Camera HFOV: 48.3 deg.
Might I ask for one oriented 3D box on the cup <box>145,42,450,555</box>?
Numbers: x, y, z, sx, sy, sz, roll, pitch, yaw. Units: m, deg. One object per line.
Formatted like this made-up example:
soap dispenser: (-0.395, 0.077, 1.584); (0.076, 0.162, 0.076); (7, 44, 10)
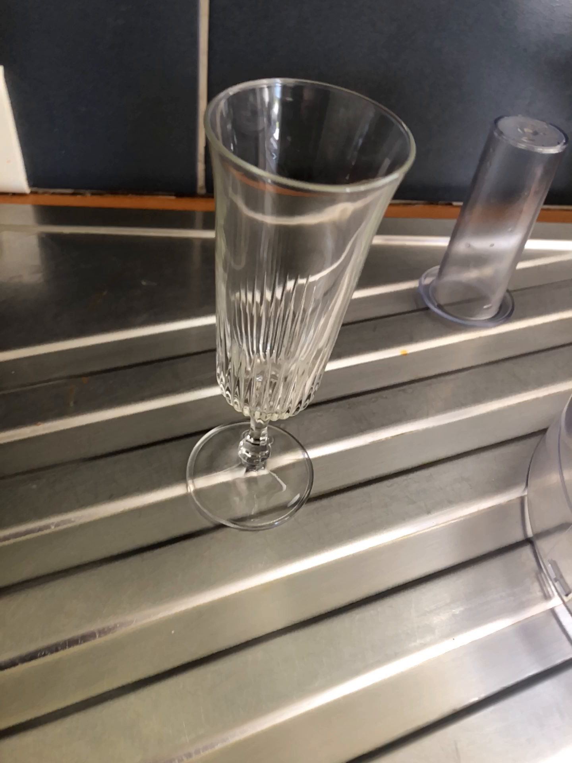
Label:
cup: (-0.003, -0.014, 0.228); (0.060, 0.169, 0.060); (4, 48, -5)
